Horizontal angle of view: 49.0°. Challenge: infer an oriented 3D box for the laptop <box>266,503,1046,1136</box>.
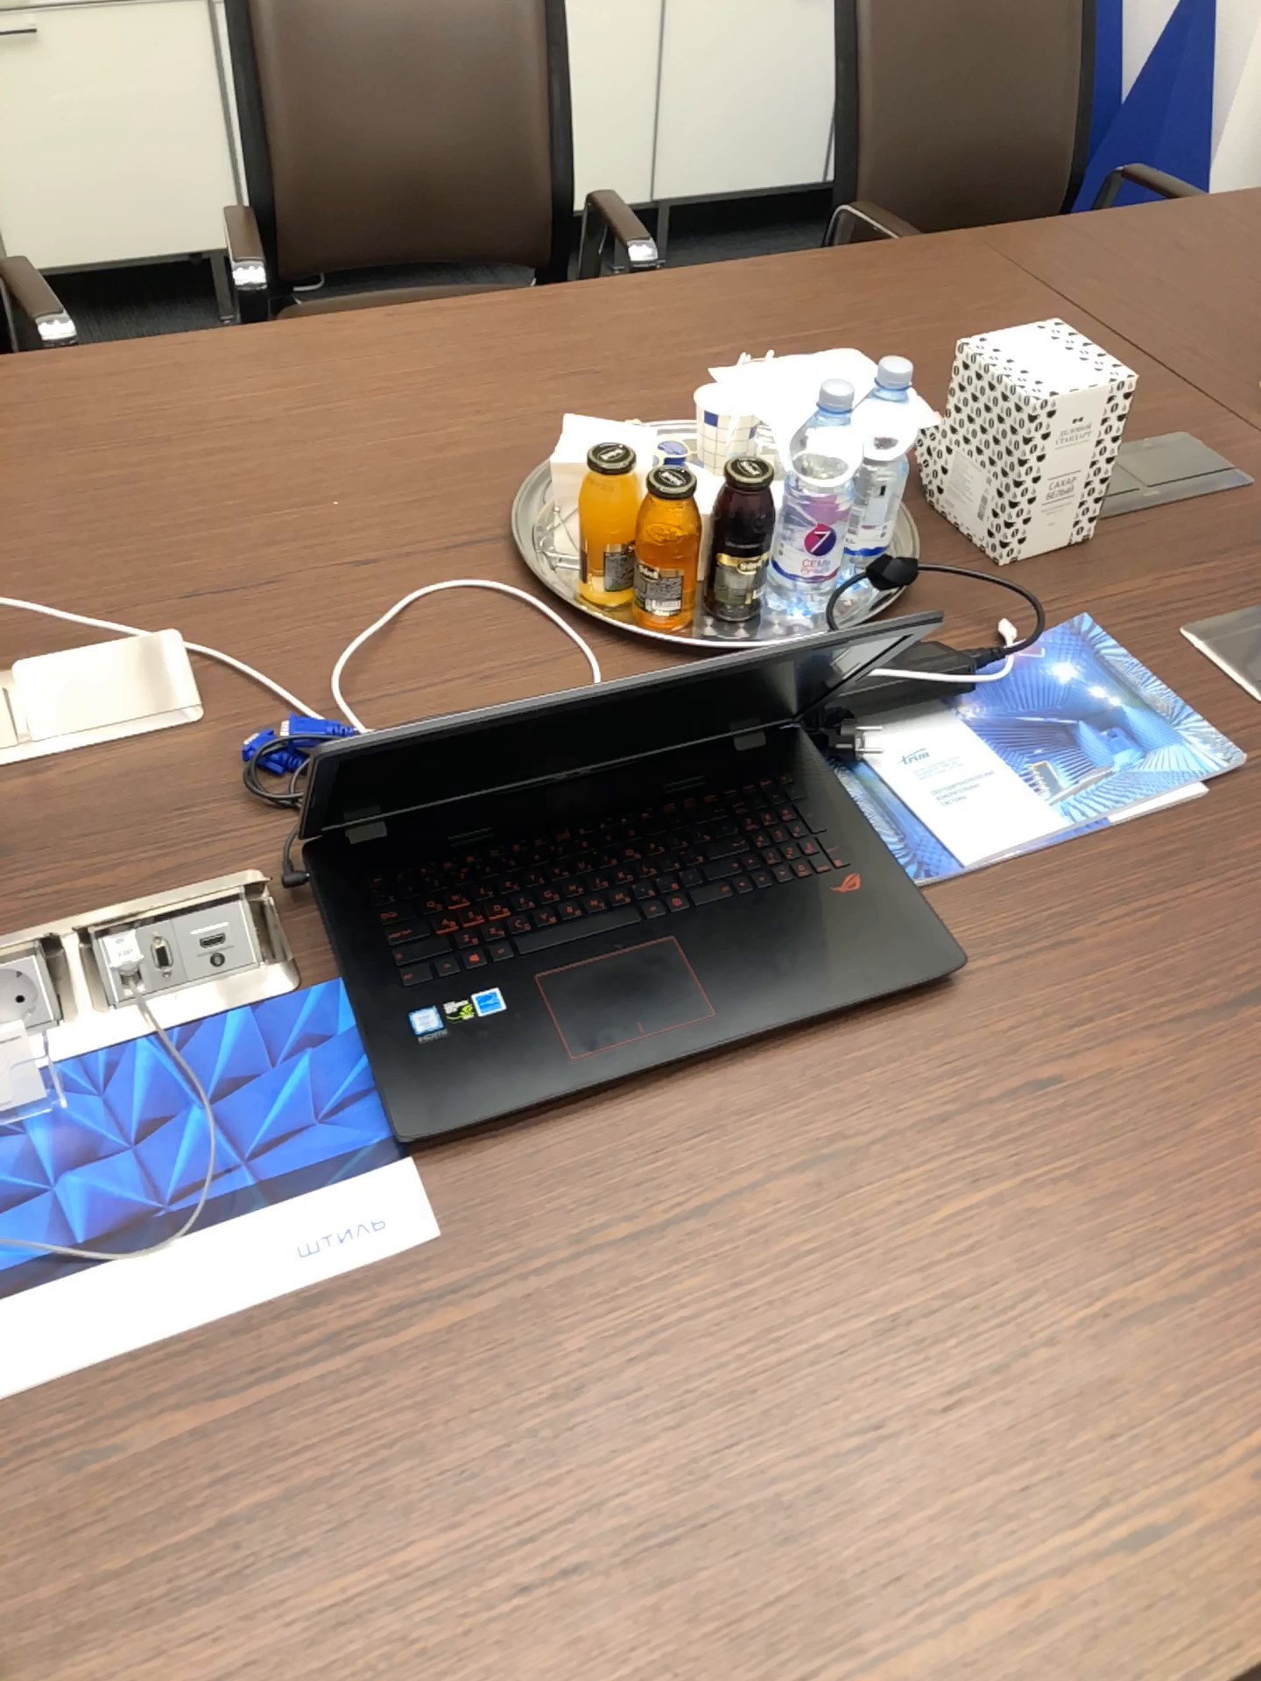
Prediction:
[{"bbox_3d":[0.005,-0.027,0.844,0.377,0.189,0.237,-14,49,-18],"label":"laptop"}]
